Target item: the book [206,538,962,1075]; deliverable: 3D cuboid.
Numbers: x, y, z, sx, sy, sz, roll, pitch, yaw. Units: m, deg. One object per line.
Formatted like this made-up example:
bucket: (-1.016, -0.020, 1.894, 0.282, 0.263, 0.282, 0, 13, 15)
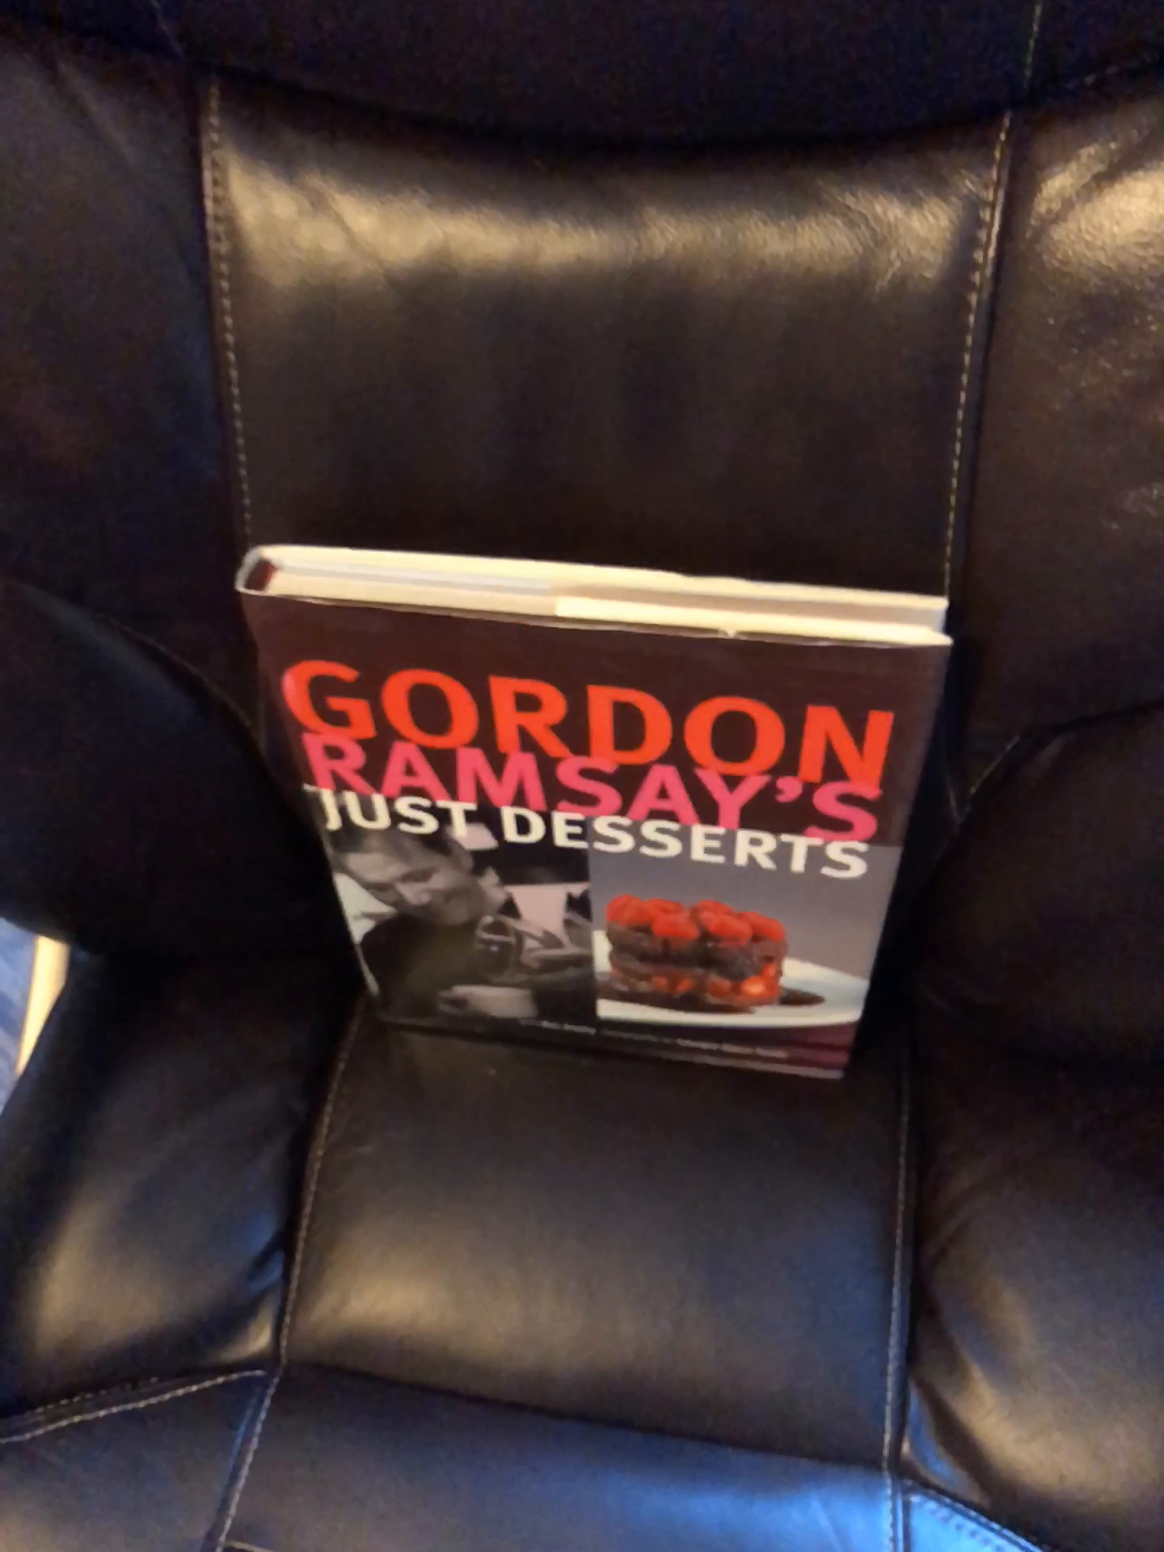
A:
book: (0.007, 0.032, 0.516, 0.230, 0.294, 0.030, 6, 55, 8)
